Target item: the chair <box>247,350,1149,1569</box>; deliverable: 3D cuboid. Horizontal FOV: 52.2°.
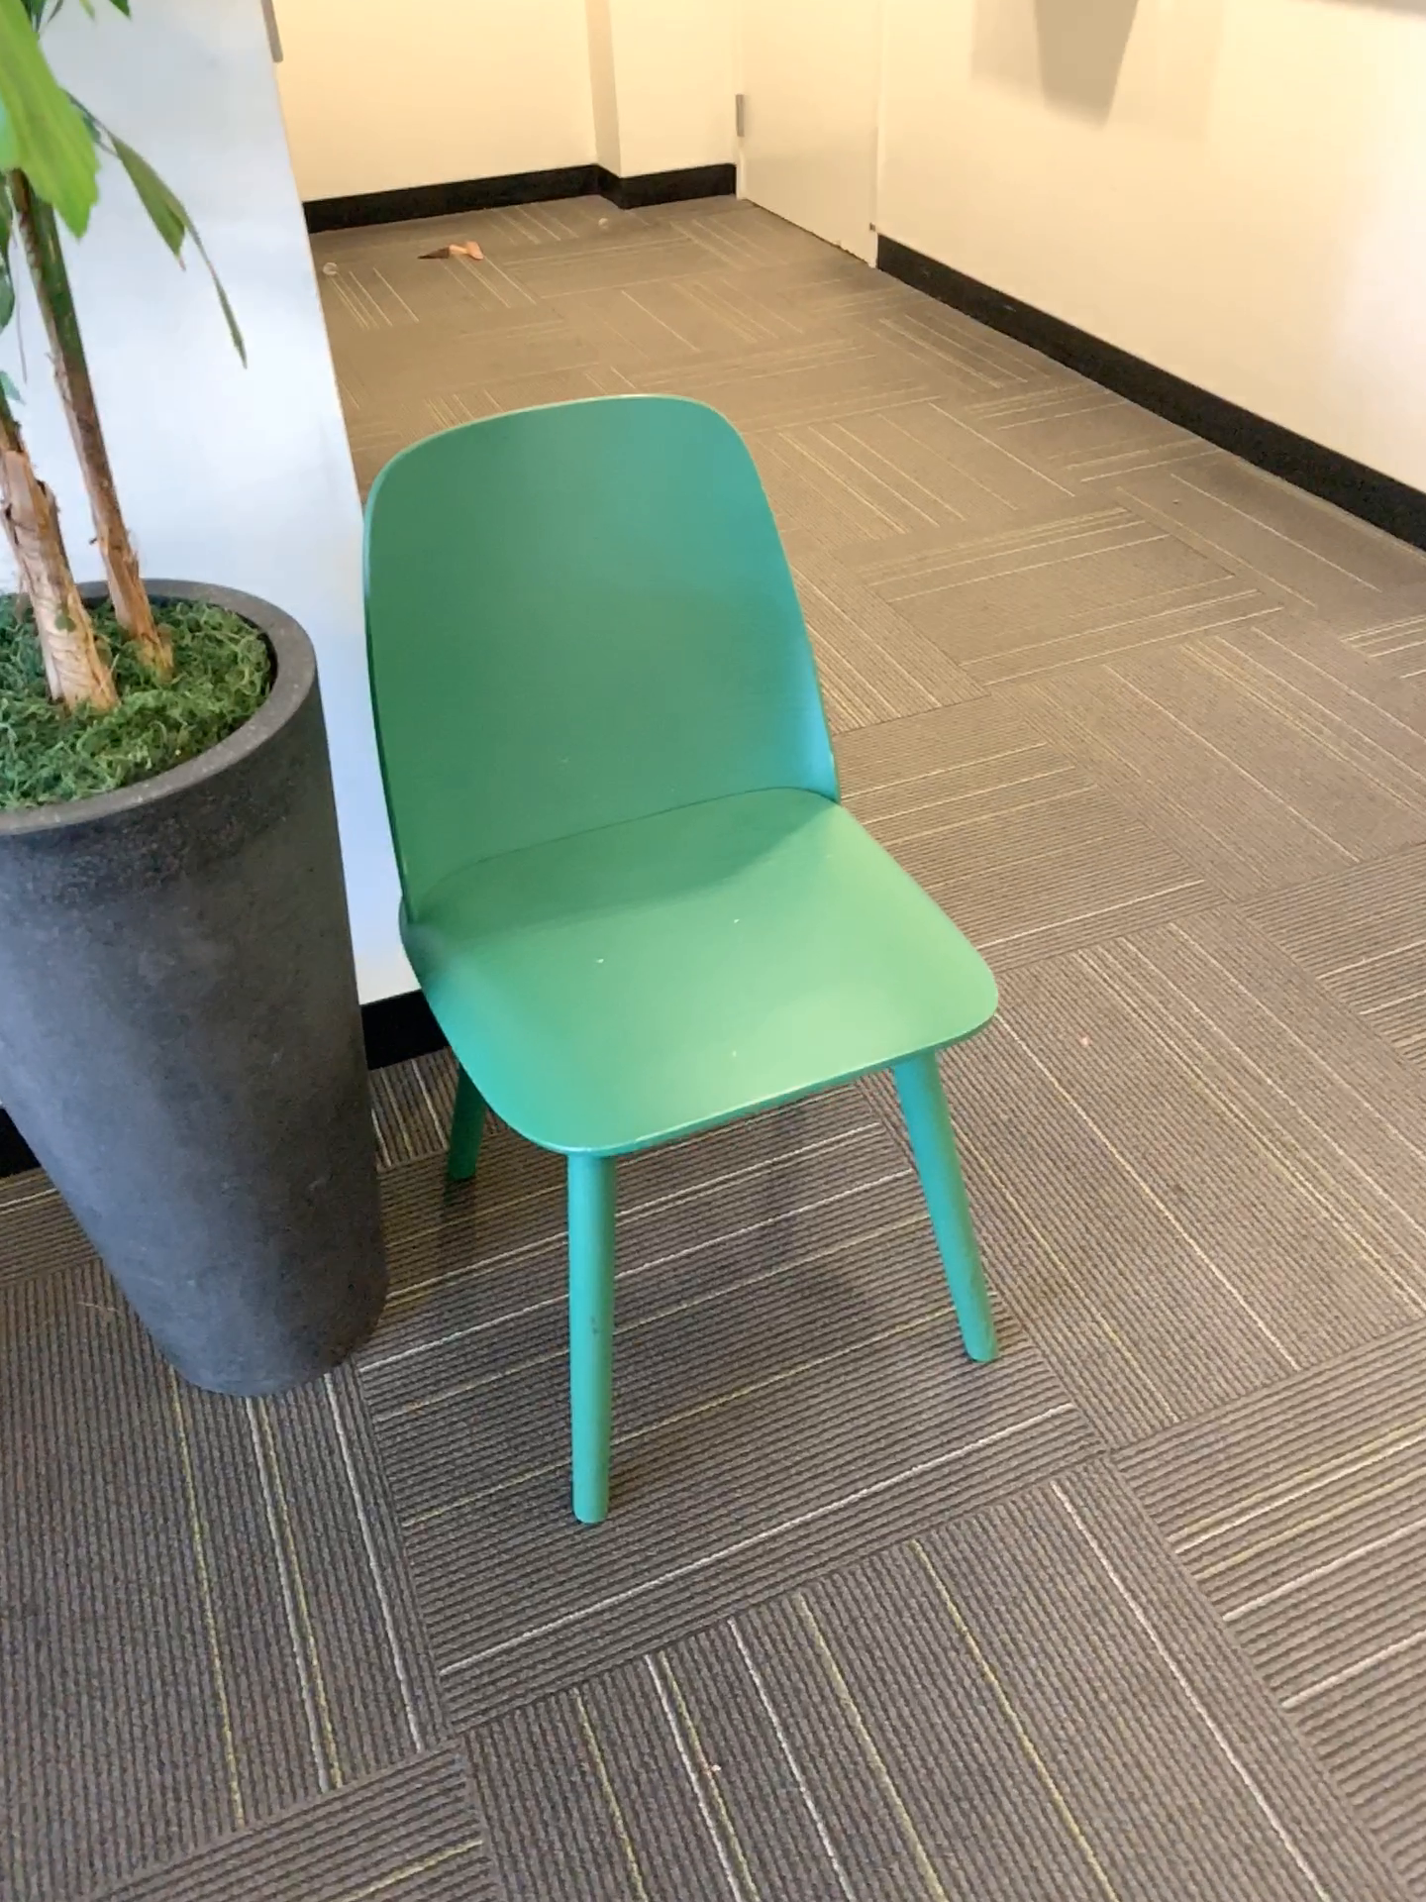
[{"bbox_3d":[-0.064,-0.039,1.196,0.390,0.626,0.714,-16,41,-15],"label":"chair"}]
